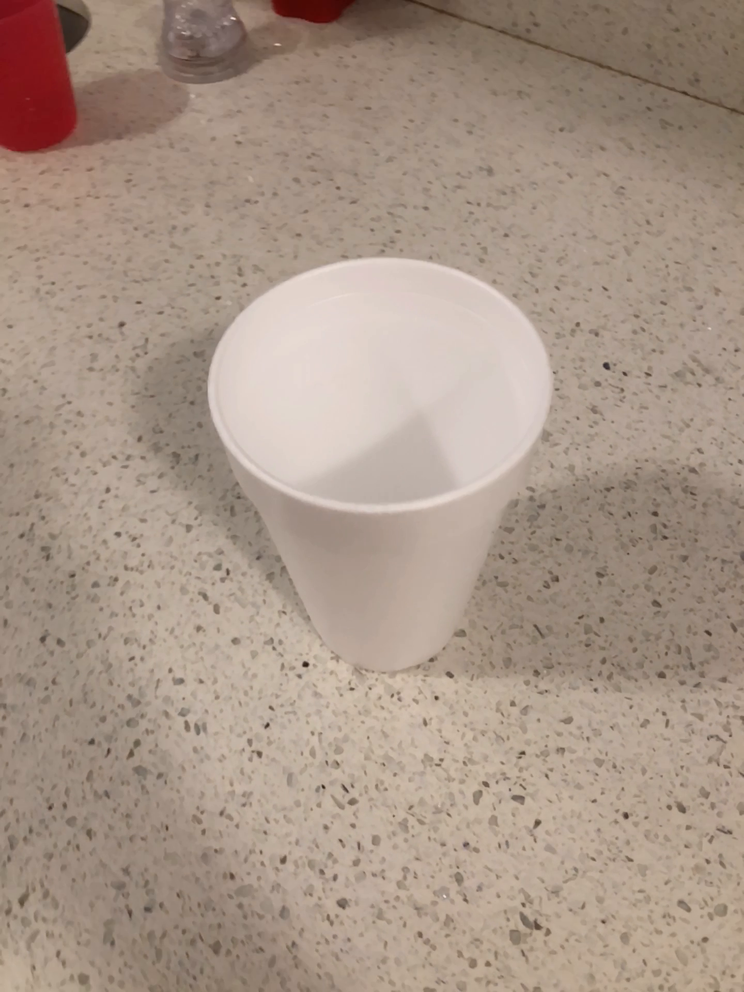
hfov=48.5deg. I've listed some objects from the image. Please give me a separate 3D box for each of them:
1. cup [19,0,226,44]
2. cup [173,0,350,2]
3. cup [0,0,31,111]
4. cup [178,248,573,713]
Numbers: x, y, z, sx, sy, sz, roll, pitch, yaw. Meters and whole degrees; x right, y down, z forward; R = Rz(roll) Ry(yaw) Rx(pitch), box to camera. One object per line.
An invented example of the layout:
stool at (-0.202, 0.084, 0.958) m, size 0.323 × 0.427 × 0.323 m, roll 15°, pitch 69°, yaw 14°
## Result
cup at (-0.240, -0.612, 0.846) m, size 0.128 × 0.245 × 0.085 m, roll -1°, pitch 55°, yaw 2°
cup at (-0.095, -0.596, 0.791) m, size 0.128 × 0.175 × 0.121 m, roll -1°, pitch 55°, yaw 2°
cup at (-0.395, -0.453, 0.765) m, size 0.104 × 0.135 × 0.097 m, roll 0°, pitch 54°, yaw 1°
cup at (0.003, 0.002, 0.258) m, size 0.088 × 0.118 × 0.090 m, roll -1°, pitch 55°, yaw 2°
